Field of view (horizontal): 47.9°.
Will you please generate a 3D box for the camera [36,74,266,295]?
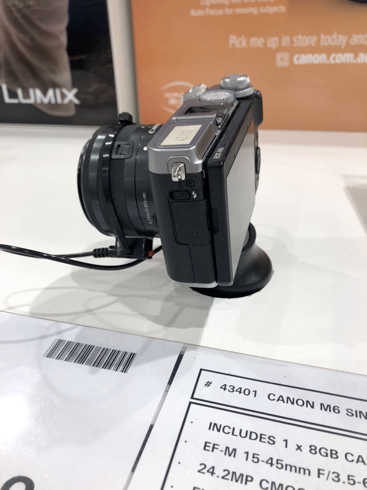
[{"bbox_3d":[-0.004,-0.039,0.222,0.083,0.075,0.103,3,33,17],"label":"camera"}]
